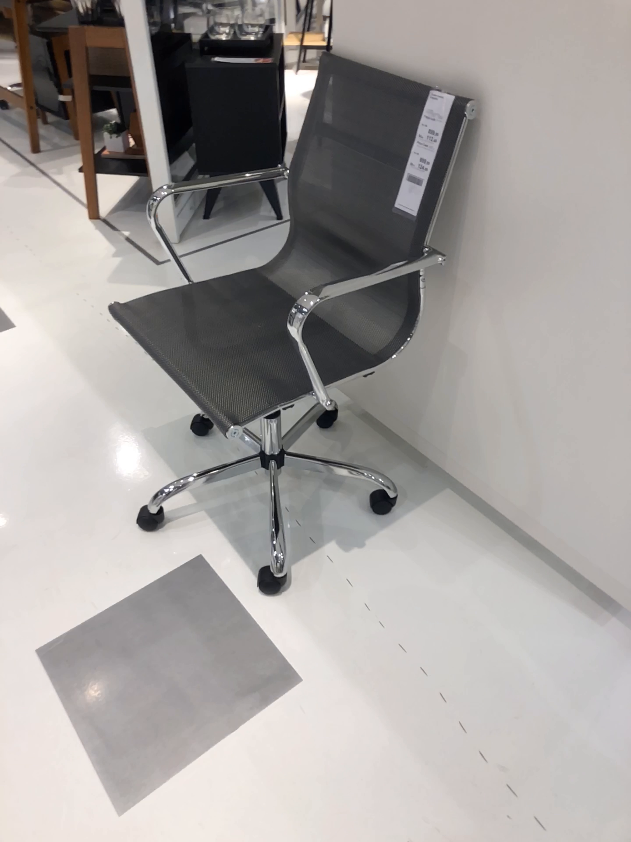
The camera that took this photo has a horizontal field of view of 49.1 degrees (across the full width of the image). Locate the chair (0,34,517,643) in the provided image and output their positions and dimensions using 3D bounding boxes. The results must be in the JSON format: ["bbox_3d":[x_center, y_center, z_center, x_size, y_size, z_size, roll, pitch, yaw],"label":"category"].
[{"bbox_3d":[-0.122,-0.191,1.424,0.652,0.903,0.623,-25,46,-26],"label":"chair"}]
